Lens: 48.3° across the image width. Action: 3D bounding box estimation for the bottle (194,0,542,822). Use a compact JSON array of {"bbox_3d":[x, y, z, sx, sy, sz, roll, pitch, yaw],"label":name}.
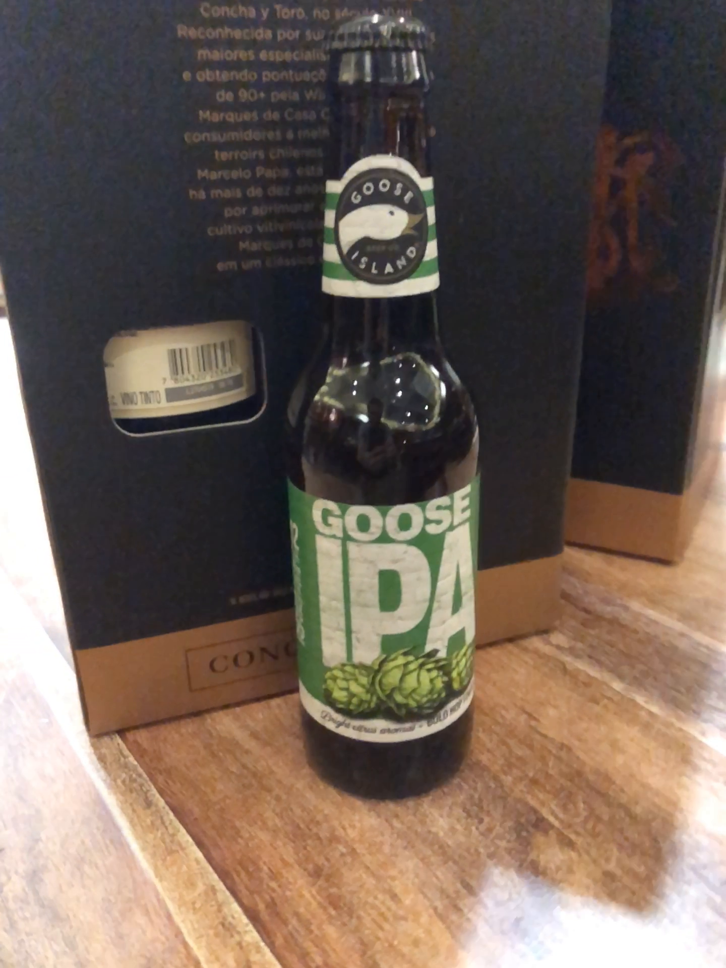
[{"bbox_3d":[0.000,-0.018,0.240,0.070,0.228,0.060,-8,23,-15],"label":"bottle"}]
